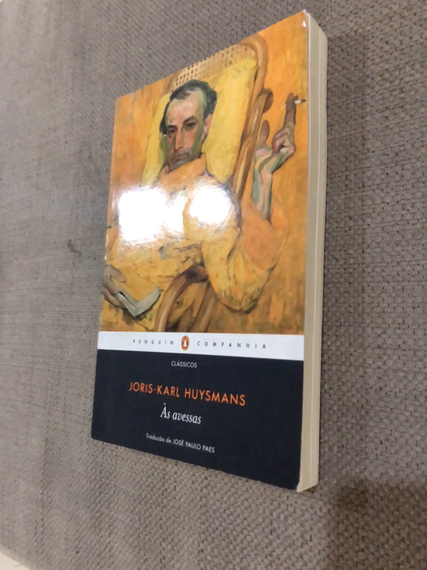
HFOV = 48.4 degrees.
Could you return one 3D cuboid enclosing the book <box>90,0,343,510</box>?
[{"bbox_3d":[-0.005,-0.013,0.231,0.131,0.023,0.195,-3,82,41],"label":"book"}]
